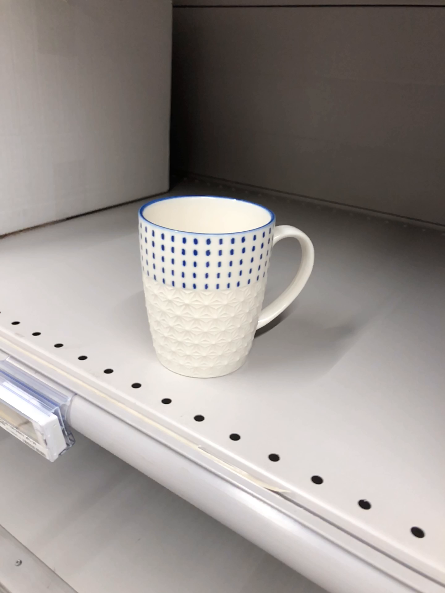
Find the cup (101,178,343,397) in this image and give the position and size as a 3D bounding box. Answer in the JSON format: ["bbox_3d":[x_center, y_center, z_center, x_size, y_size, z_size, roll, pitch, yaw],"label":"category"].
[{"bbox_3d":[-0.004,-0.016,0.328,0.119,0.096,0.096,-13,29,-28],"label":"cup"}]
